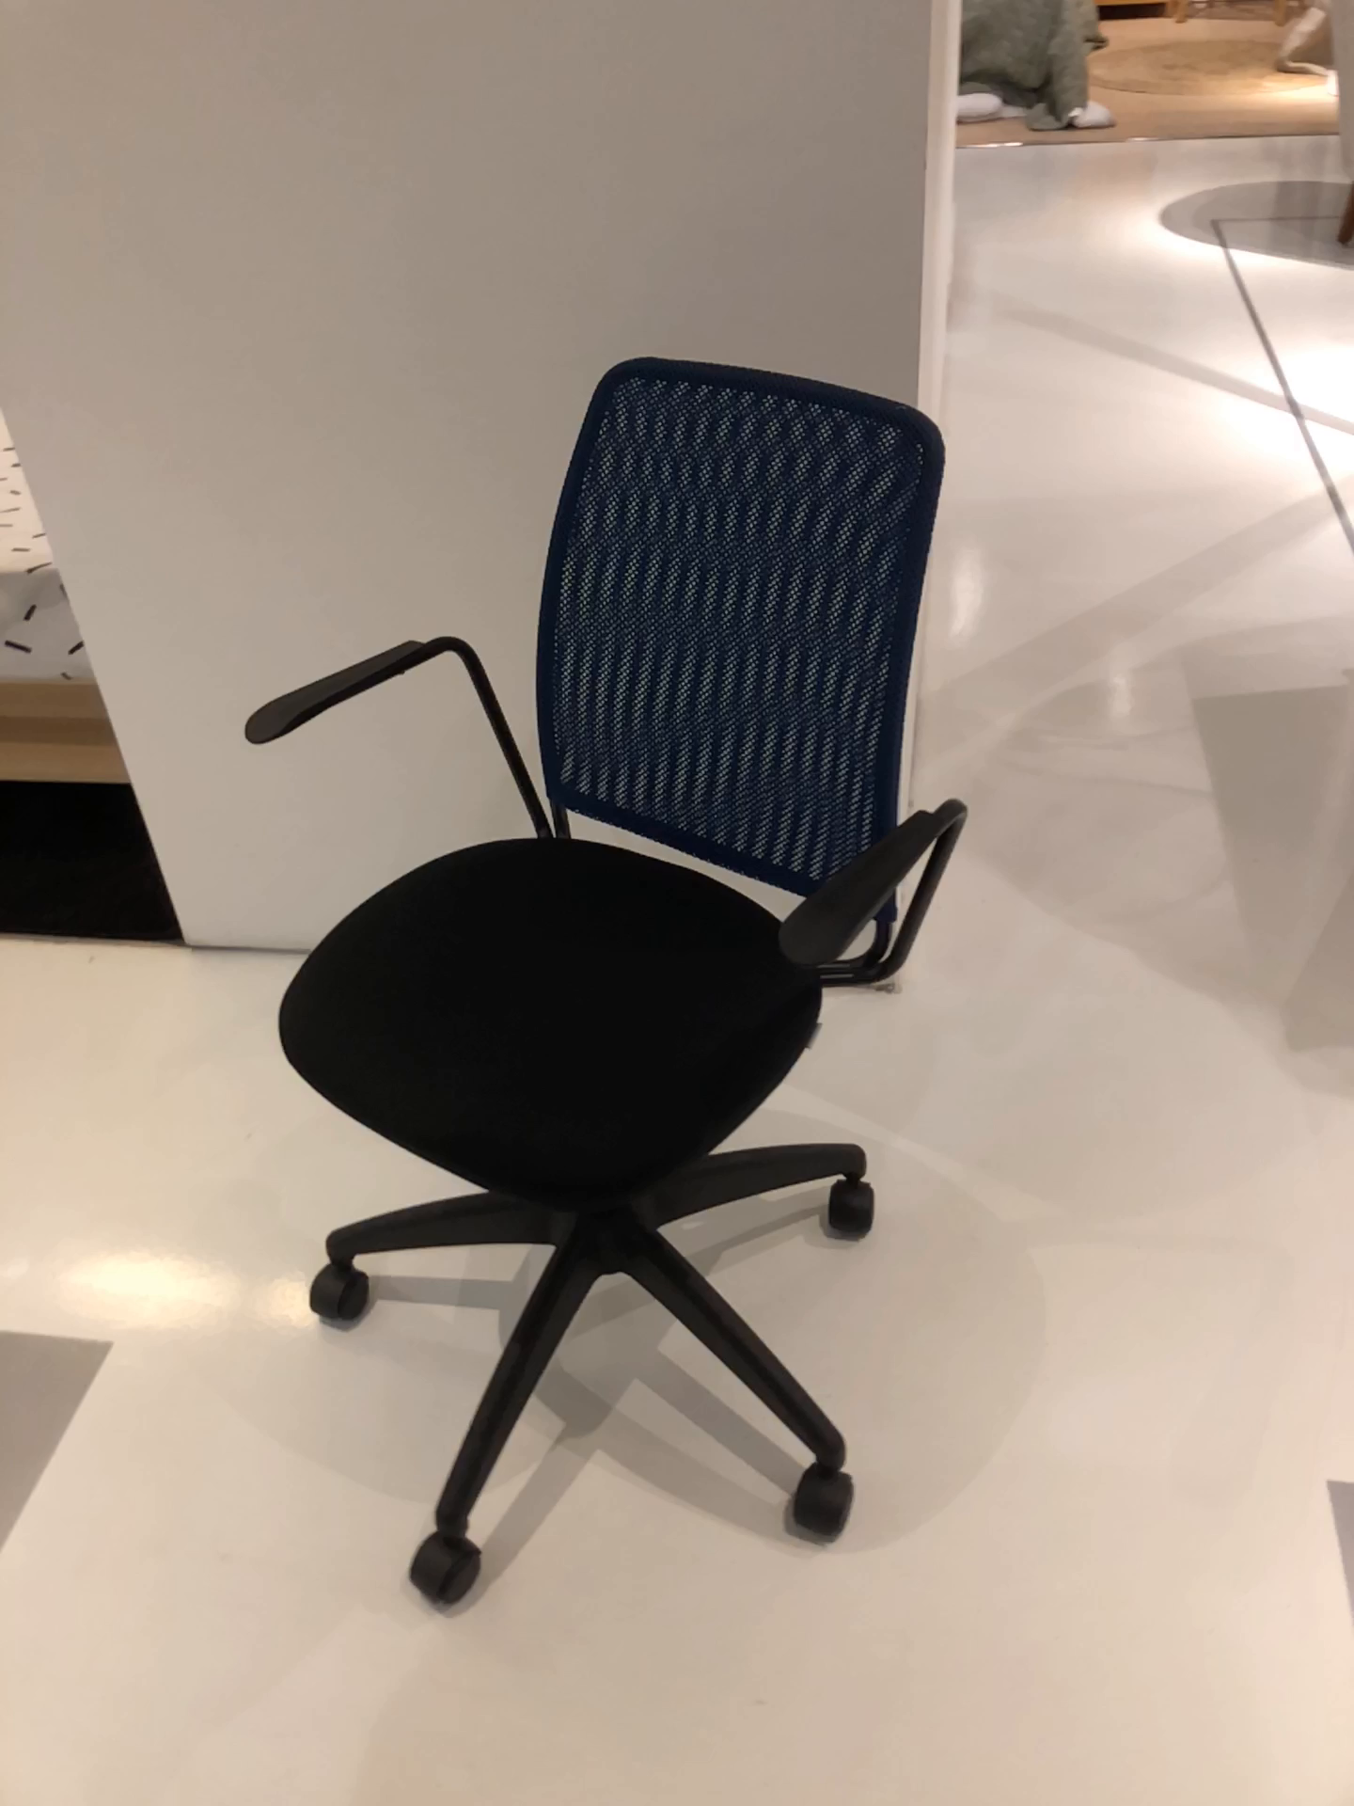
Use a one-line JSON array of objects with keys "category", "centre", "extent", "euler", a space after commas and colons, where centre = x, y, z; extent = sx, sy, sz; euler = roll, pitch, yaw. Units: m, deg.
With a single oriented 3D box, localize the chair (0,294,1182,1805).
[{"category": "chair", "centre": [-0.088, 0.085, 1.288], "extent": [0.662, 0.922, 0.703], "euler": [23, 45, 32]}]
